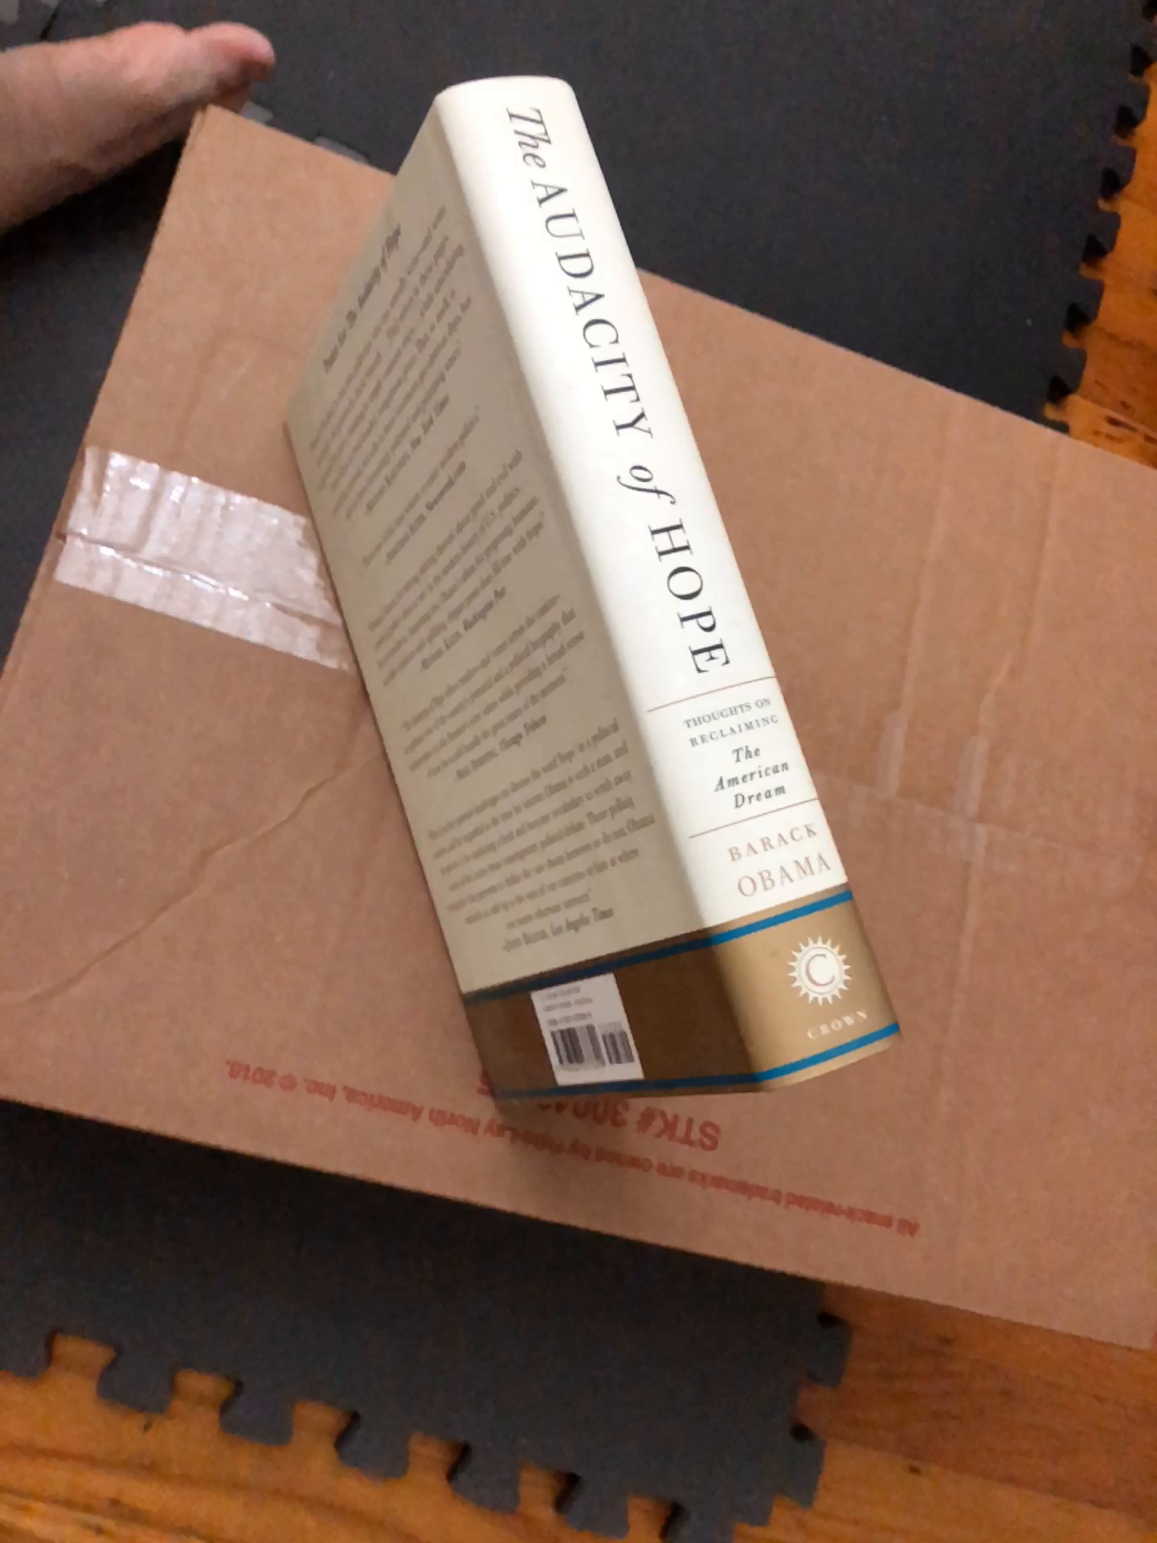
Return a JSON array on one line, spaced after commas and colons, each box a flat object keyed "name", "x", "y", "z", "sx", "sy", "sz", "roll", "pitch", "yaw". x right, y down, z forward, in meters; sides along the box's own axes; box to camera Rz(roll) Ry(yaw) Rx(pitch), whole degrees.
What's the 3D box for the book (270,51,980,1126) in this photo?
[{"name": "book", "x": -0.007, "y": -0.033, "z": 0.369, "sx": 0.060, "sy": 0.170, "sz": 0.250, "roll": -14, "pitch": 84, "yaw": -29}]
